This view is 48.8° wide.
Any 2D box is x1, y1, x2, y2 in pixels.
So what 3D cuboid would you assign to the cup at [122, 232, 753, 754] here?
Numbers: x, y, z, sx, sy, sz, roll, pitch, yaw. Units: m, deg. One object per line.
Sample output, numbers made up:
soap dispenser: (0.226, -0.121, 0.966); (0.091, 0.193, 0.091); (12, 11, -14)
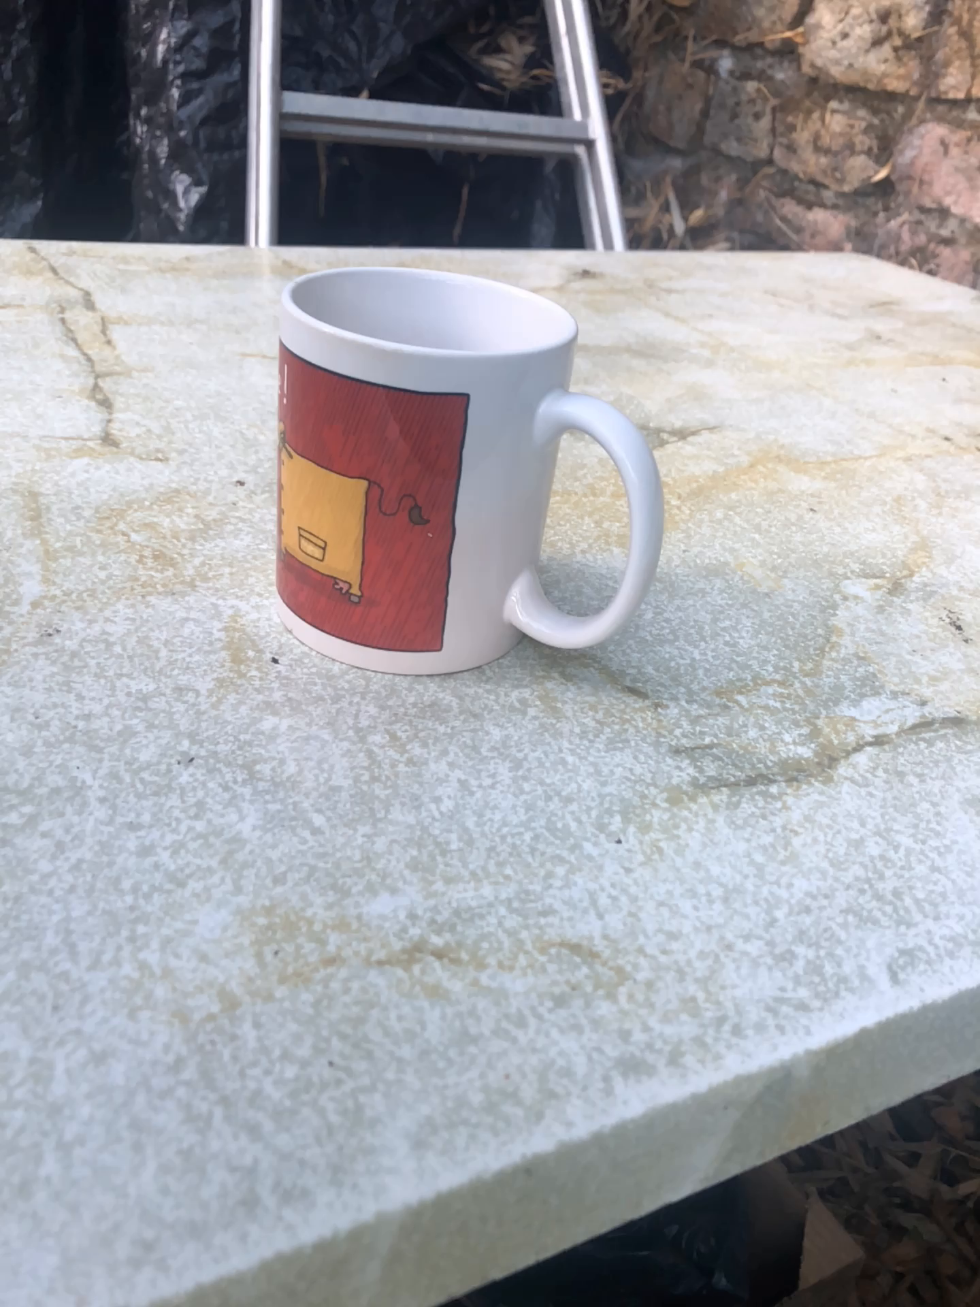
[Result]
cup: (-0.014, -0.052, 0.287); (0.129, 0.083, 0.087); (21, 35, 23)
